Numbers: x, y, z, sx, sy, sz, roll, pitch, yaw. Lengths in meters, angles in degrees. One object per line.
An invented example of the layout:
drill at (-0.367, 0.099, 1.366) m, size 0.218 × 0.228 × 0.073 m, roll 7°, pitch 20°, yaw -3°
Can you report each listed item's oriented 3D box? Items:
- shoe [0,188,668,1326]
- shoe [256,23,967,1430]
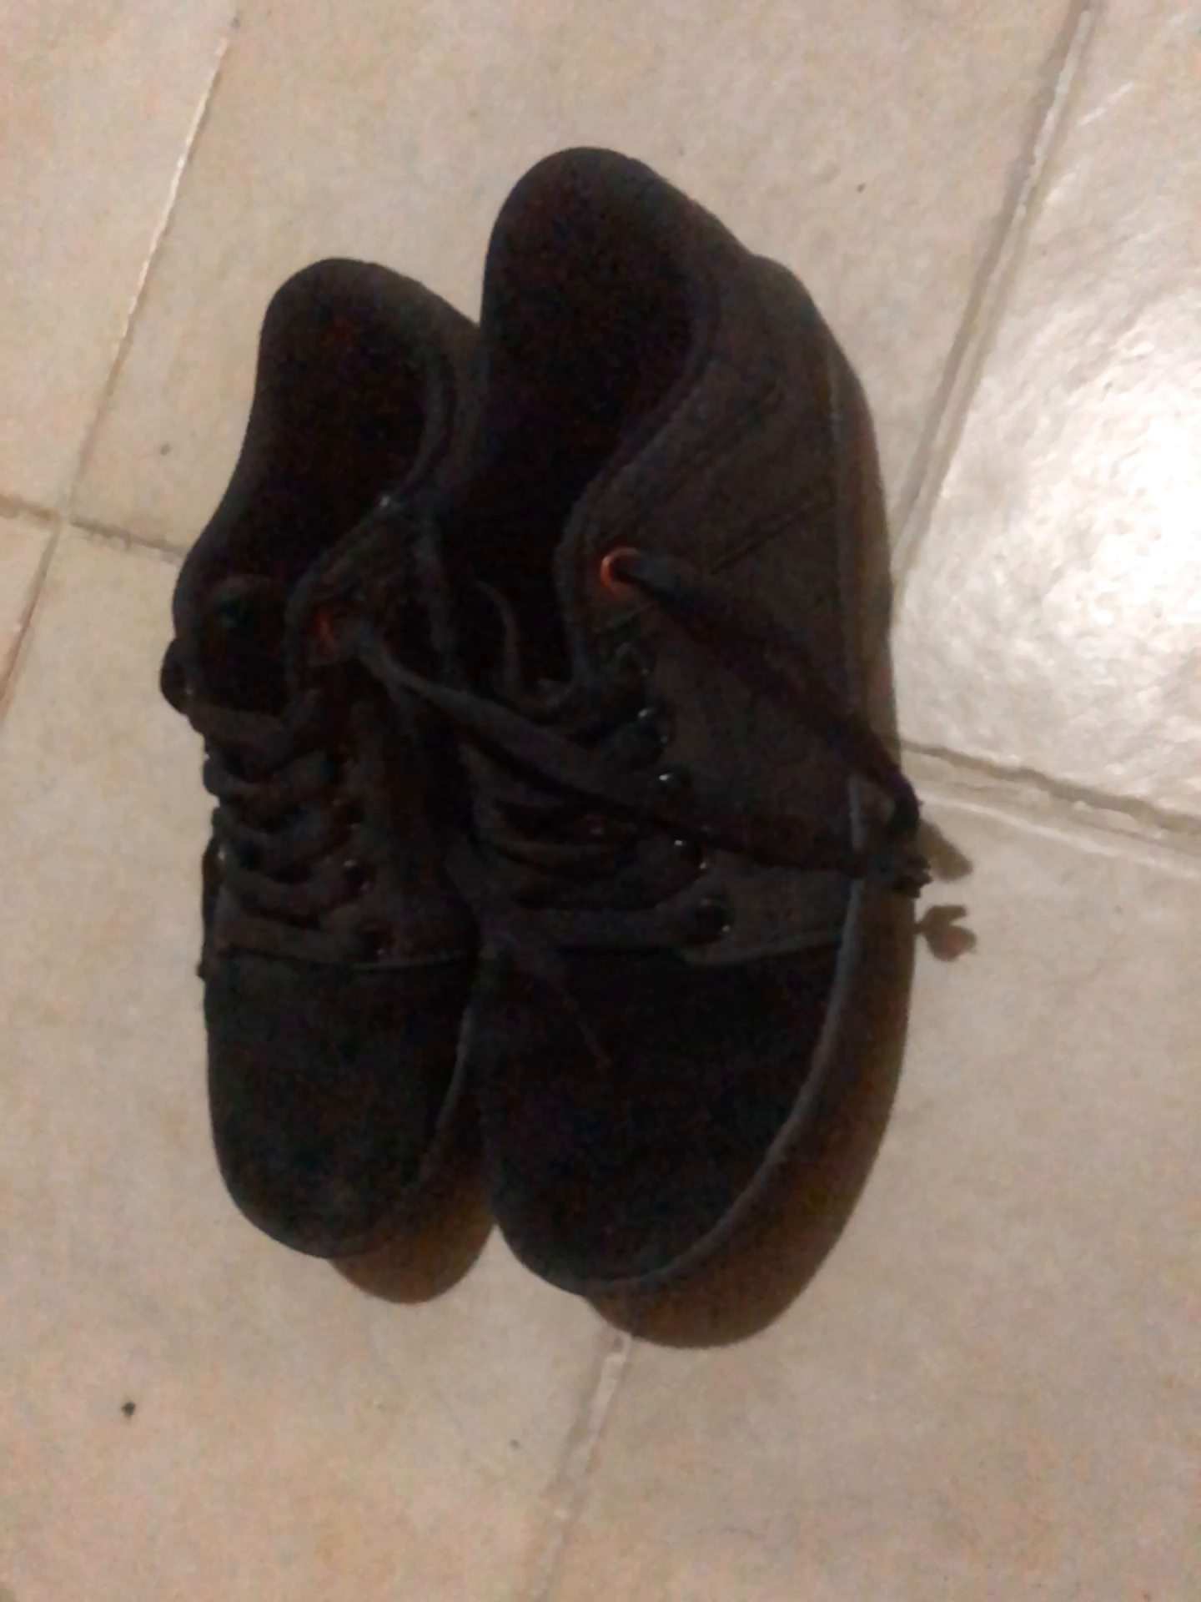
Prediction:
shoe at (-0.064, -0.009, 0.345) m, size 0.100 × 0.100 × 0.240 m, roll 2°, pitch 81°, yaw 31°
shoe at (0.012, -0.013, 0.290) m, size 0.100 × 0.100 × 0.240 m, roll -2°, pitch 78°, yaw 31°
